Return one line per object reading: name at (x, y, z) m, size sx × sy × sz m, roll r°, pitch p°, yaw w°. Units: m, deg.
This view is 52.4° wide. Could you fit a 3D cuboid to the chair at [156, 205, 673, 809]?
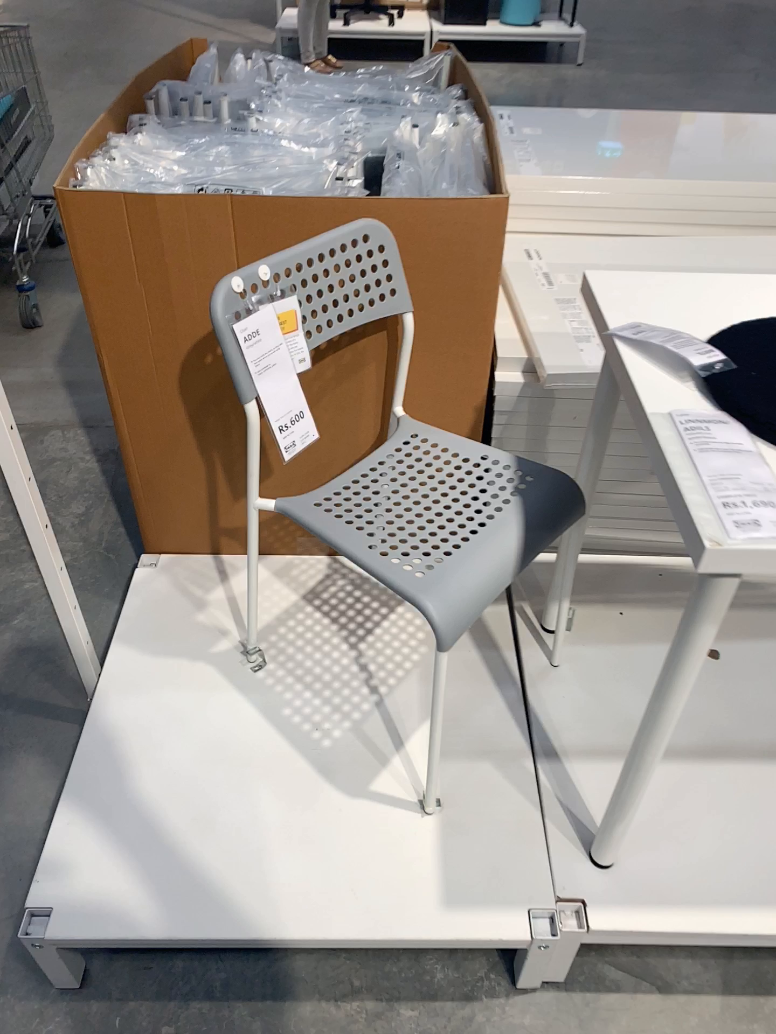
chair at (0.033, -0.027, 1.258) m, size 0.501 × 0.687 × 0.461 m, roll 30°, pitch 48°, yaw 29°
